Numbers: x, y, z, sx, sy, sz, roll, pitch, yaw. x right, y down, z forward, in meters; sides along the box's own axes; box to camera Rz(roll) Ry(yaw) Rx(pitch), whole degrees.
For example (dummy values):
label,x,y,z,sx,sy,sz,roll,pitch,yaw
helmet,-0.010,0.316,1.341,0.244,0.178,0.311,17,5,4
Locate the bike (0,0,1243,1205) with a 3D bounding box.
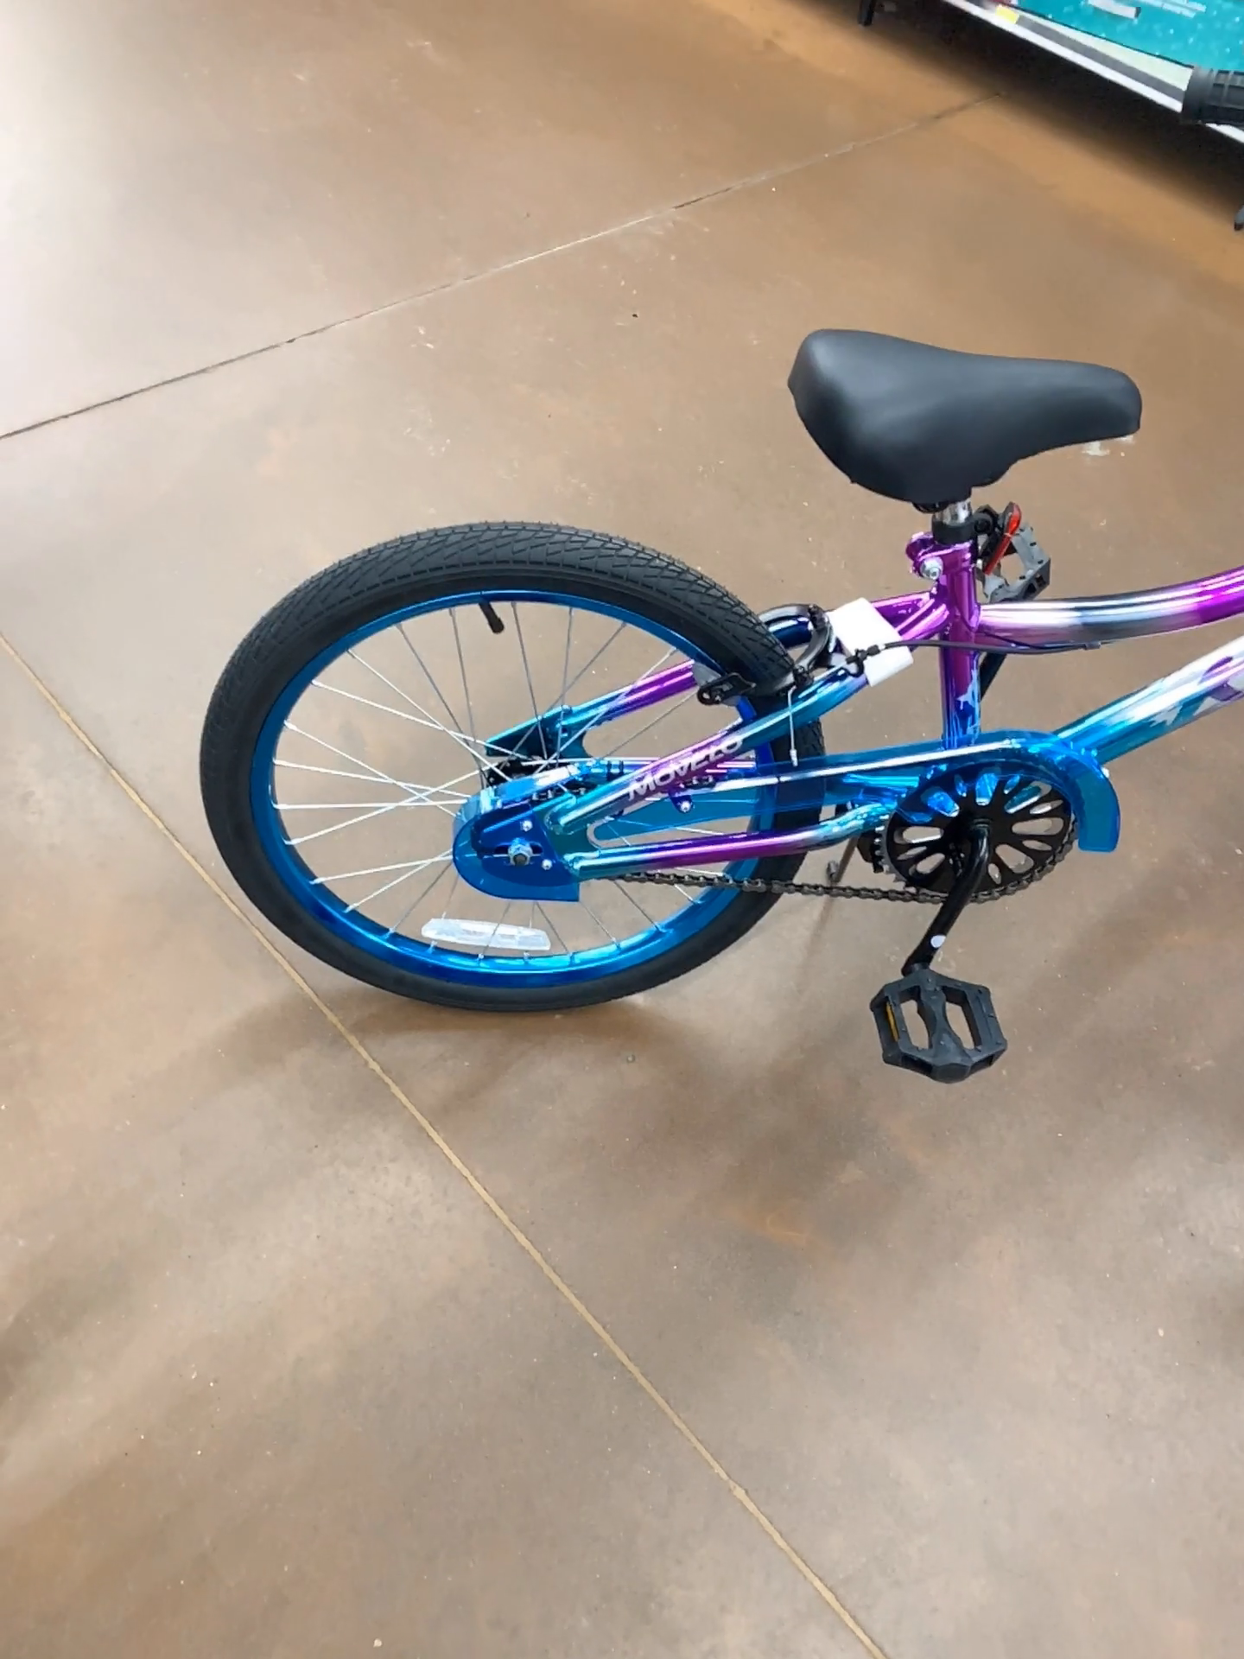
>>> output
label,x,y,z,sx,sy,sz,roll,pitch,yaw
bike,0.173,-0.217,0.879,0.933,0.932,0.580,5,51,-6
